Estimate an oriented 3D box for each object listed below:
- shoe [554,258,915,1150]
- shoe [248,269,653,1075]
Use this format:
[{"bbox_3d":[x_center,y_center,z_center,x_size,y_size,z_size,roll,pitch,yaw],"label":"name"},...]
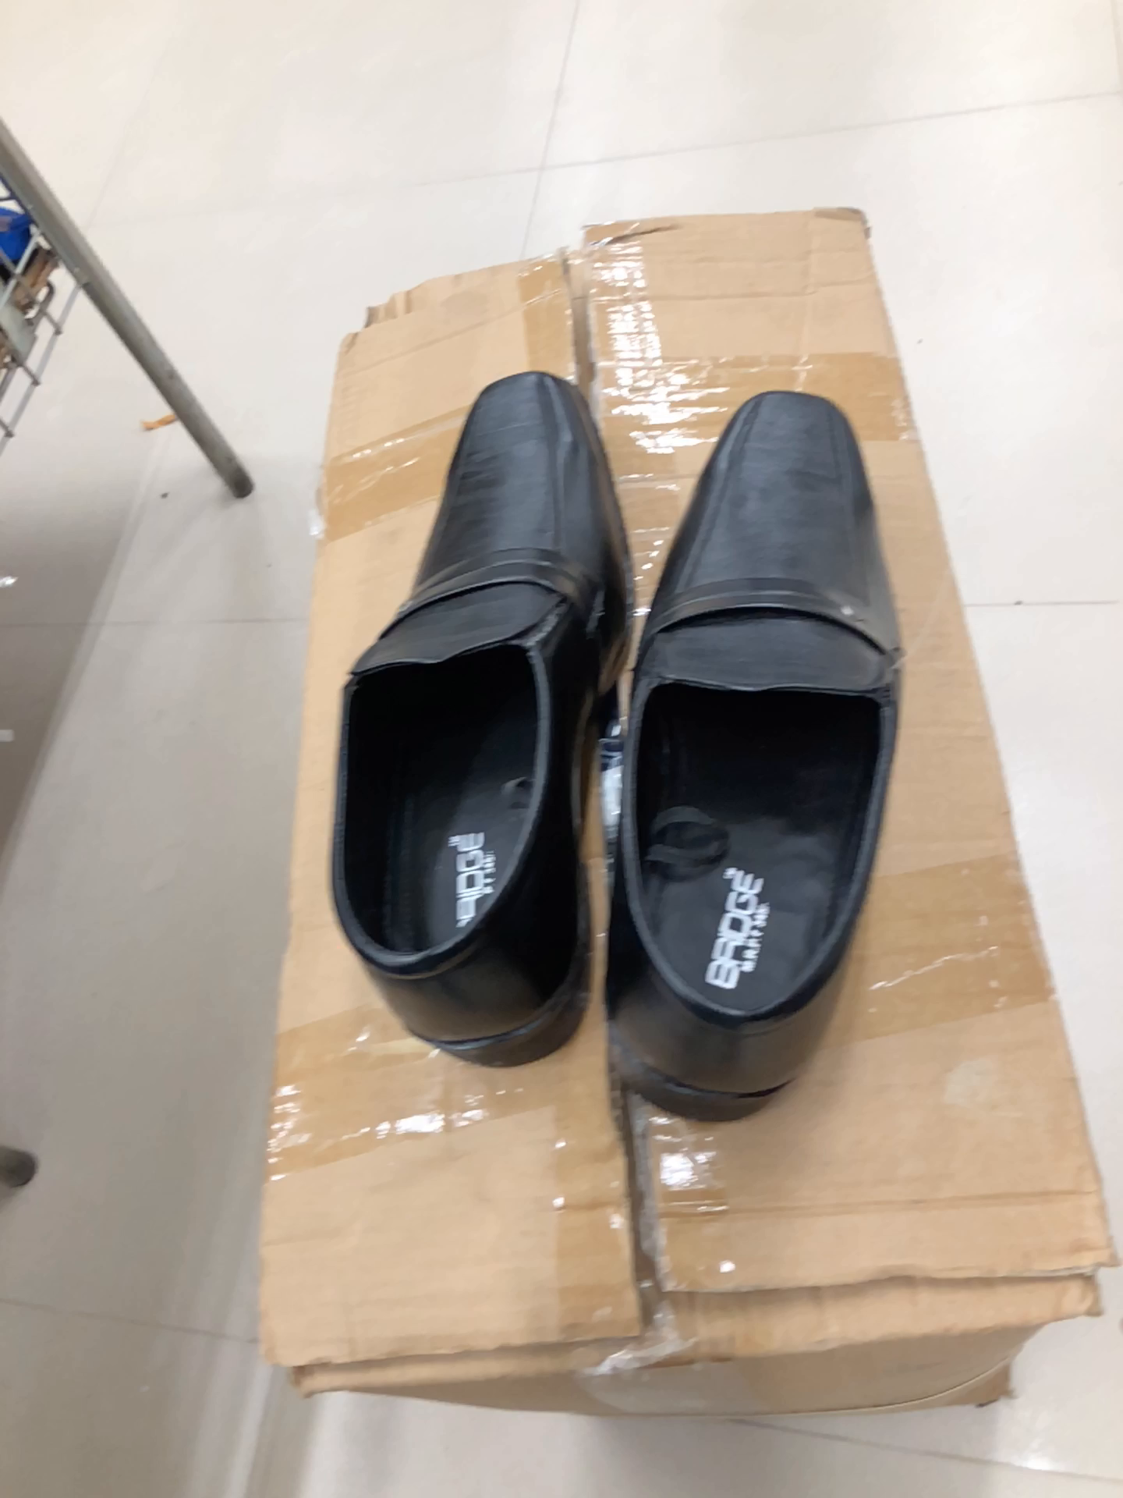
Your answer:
[{"bbox_3d":[0.071,-0.023,0.475,0.100,0.130,0.311,6,64,5],"label":"shoe"},{"bbox_3d":[-0.027,-0.031,0.498,0.100,0.130,0.291,-5,61,14],"label":"shoe"}]
